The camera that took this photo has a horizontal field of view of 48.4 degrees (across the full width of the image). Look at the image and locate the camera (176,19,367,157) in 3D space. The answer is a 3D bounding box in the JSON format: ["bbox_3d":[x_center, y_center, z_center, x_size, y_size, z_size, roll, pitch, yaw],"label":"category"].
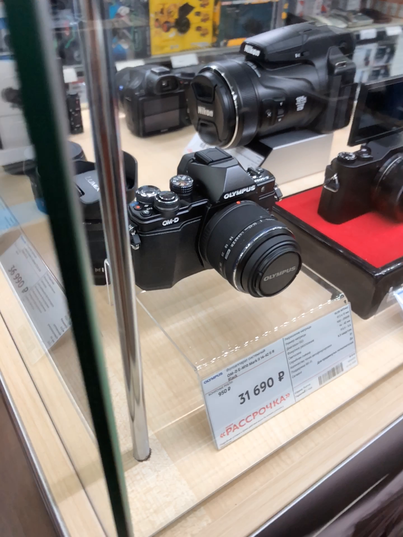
[{"bbox_3d":[0.077,-0.220,0.532,0.185,0.109,0.104,-17,41,-23],"label":"camera"}]

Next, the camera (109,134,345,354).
[{"bbox_3d":[0.014,-0.025,0.320,0.118,0.088,0.101,-21,43,-27],"label":"camera"}]

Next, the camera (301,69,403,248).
[{"bbox_3d":[0.163,-0.098,0.387,0.118,0.109,0.072,-21,43,-27],"label":"camera"}]
